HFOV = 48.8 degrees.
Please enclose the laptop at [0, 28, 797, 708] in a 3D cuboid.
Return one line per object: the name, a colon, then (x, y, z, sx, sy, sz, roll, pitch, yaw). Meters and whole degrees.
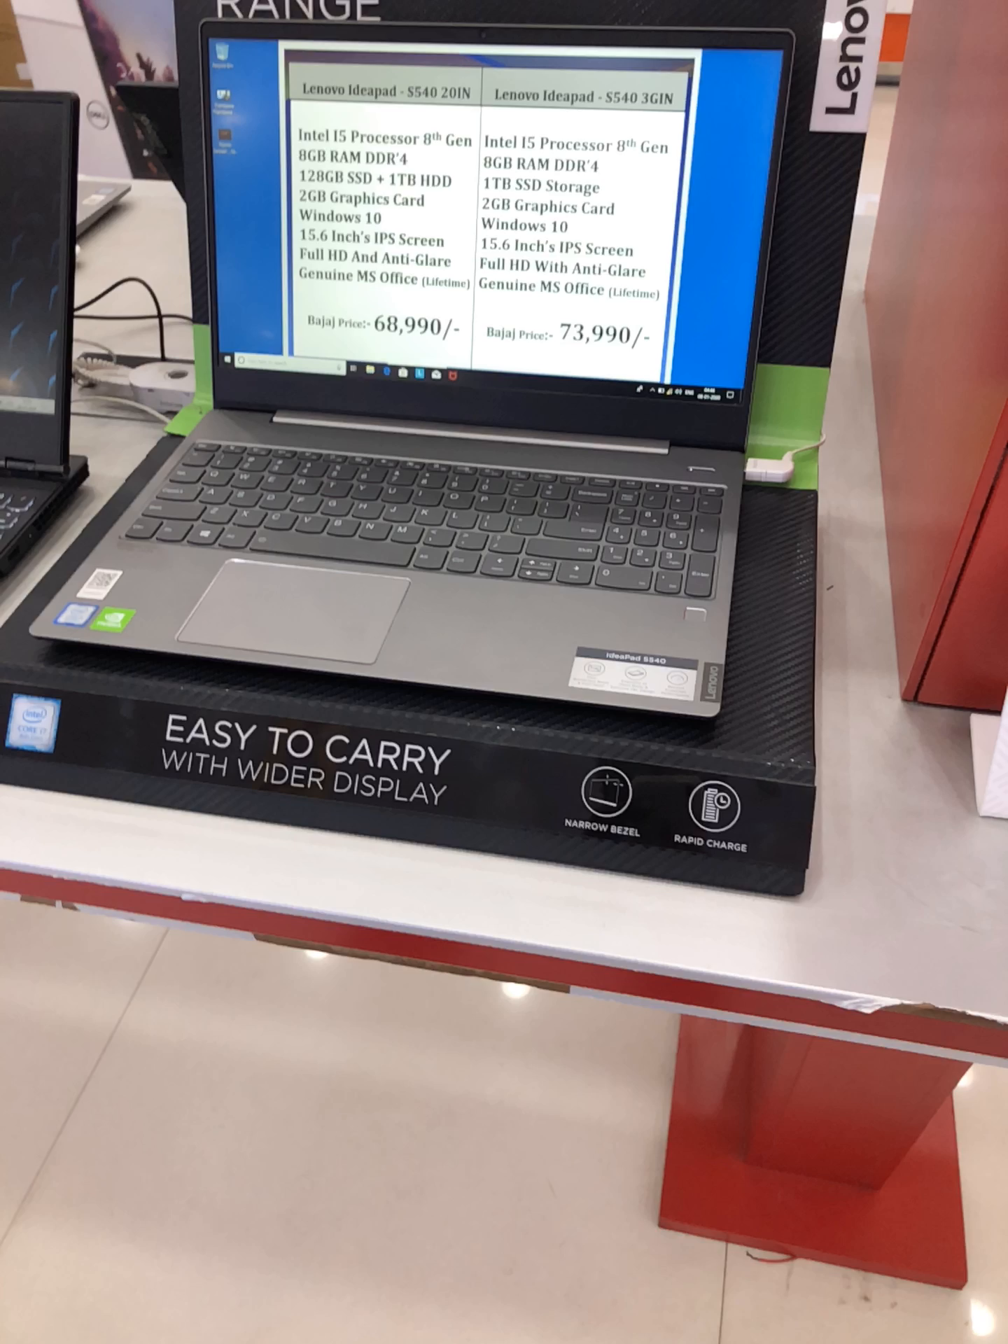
laptop: (-0.039, -0.181, 0.578, 0.335, 0.194, 0.326, 7, 44, 9)
